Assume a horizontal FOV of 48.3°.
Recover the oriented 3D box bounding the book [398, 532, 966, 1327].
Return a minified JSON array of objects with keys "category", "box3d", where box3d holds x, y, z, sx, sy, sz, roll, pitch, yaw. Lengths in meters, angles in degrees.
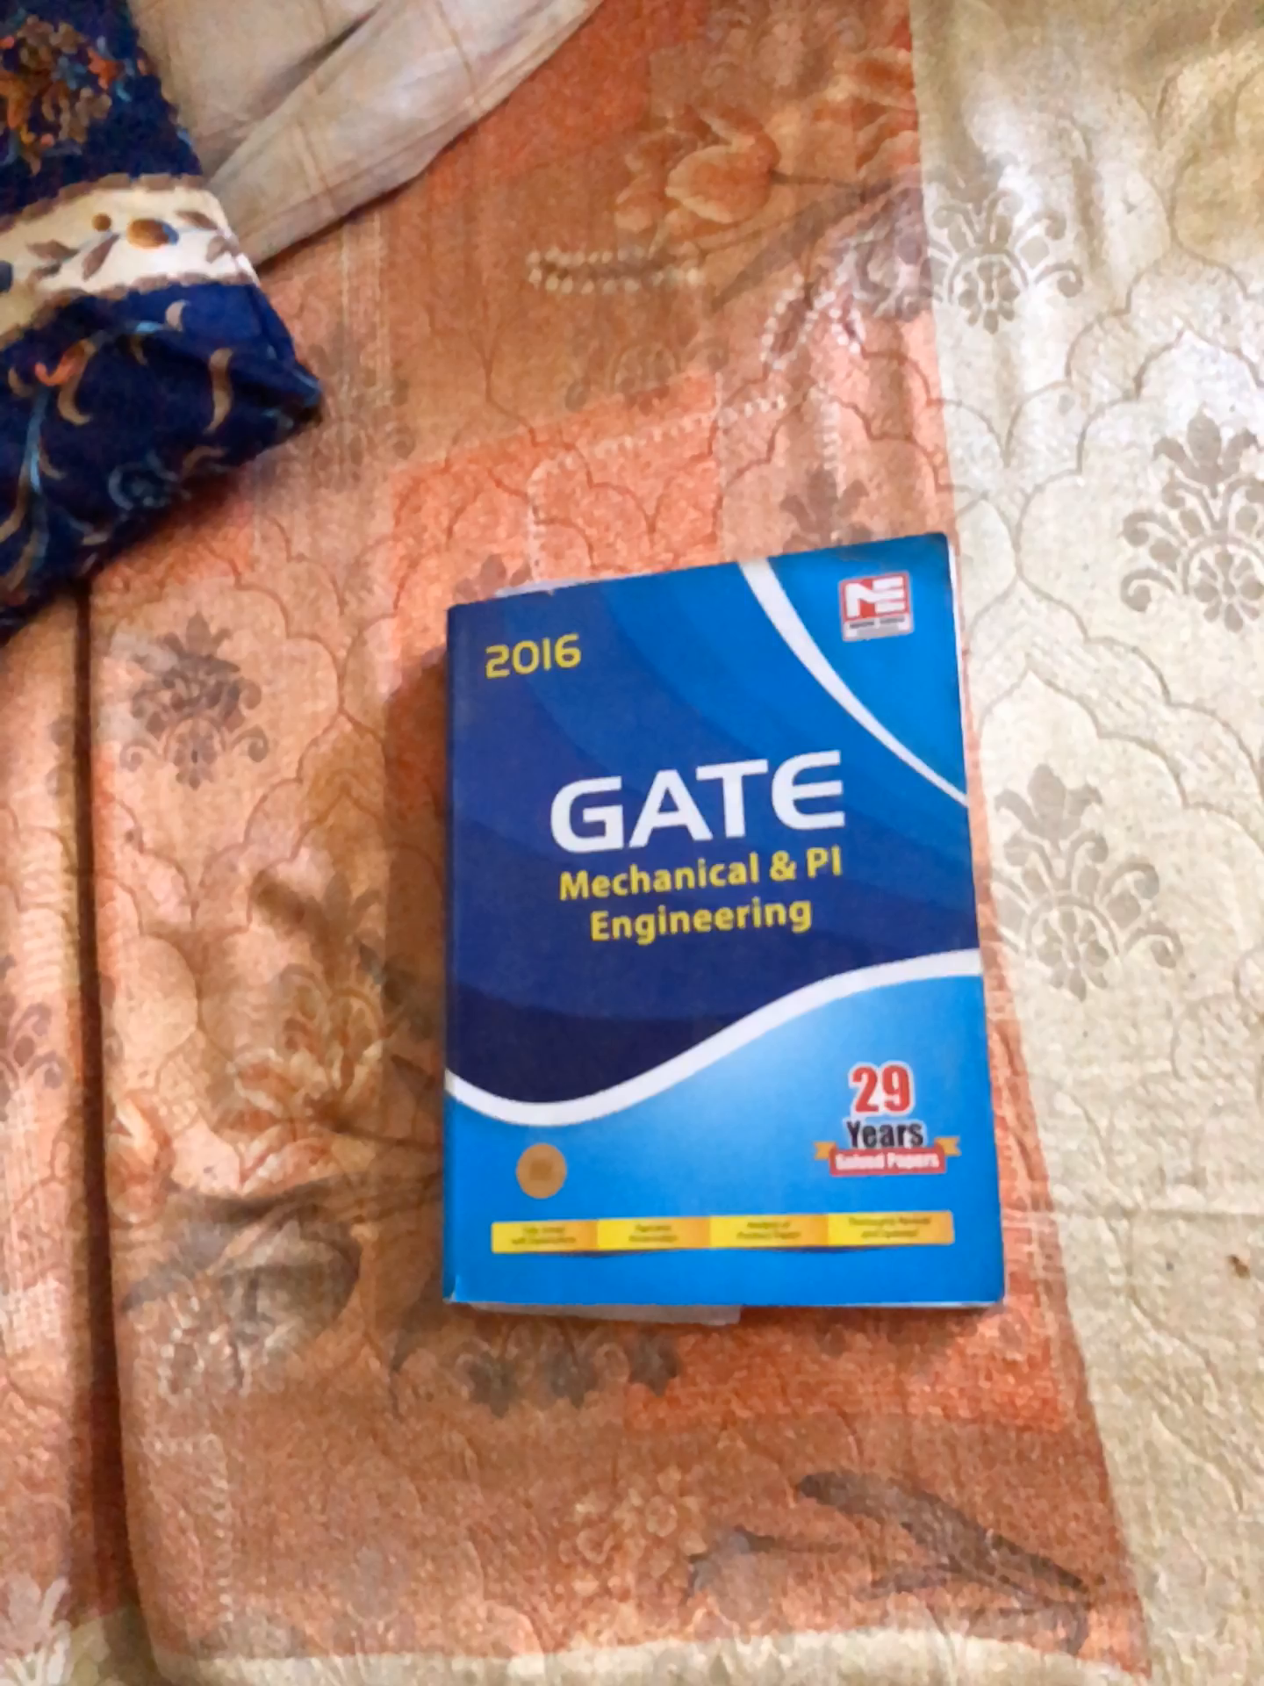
[{"category":"book","box3d":[0.015,0.035,0.545,0.200,0.051,0.280,-5,76,18]}]
